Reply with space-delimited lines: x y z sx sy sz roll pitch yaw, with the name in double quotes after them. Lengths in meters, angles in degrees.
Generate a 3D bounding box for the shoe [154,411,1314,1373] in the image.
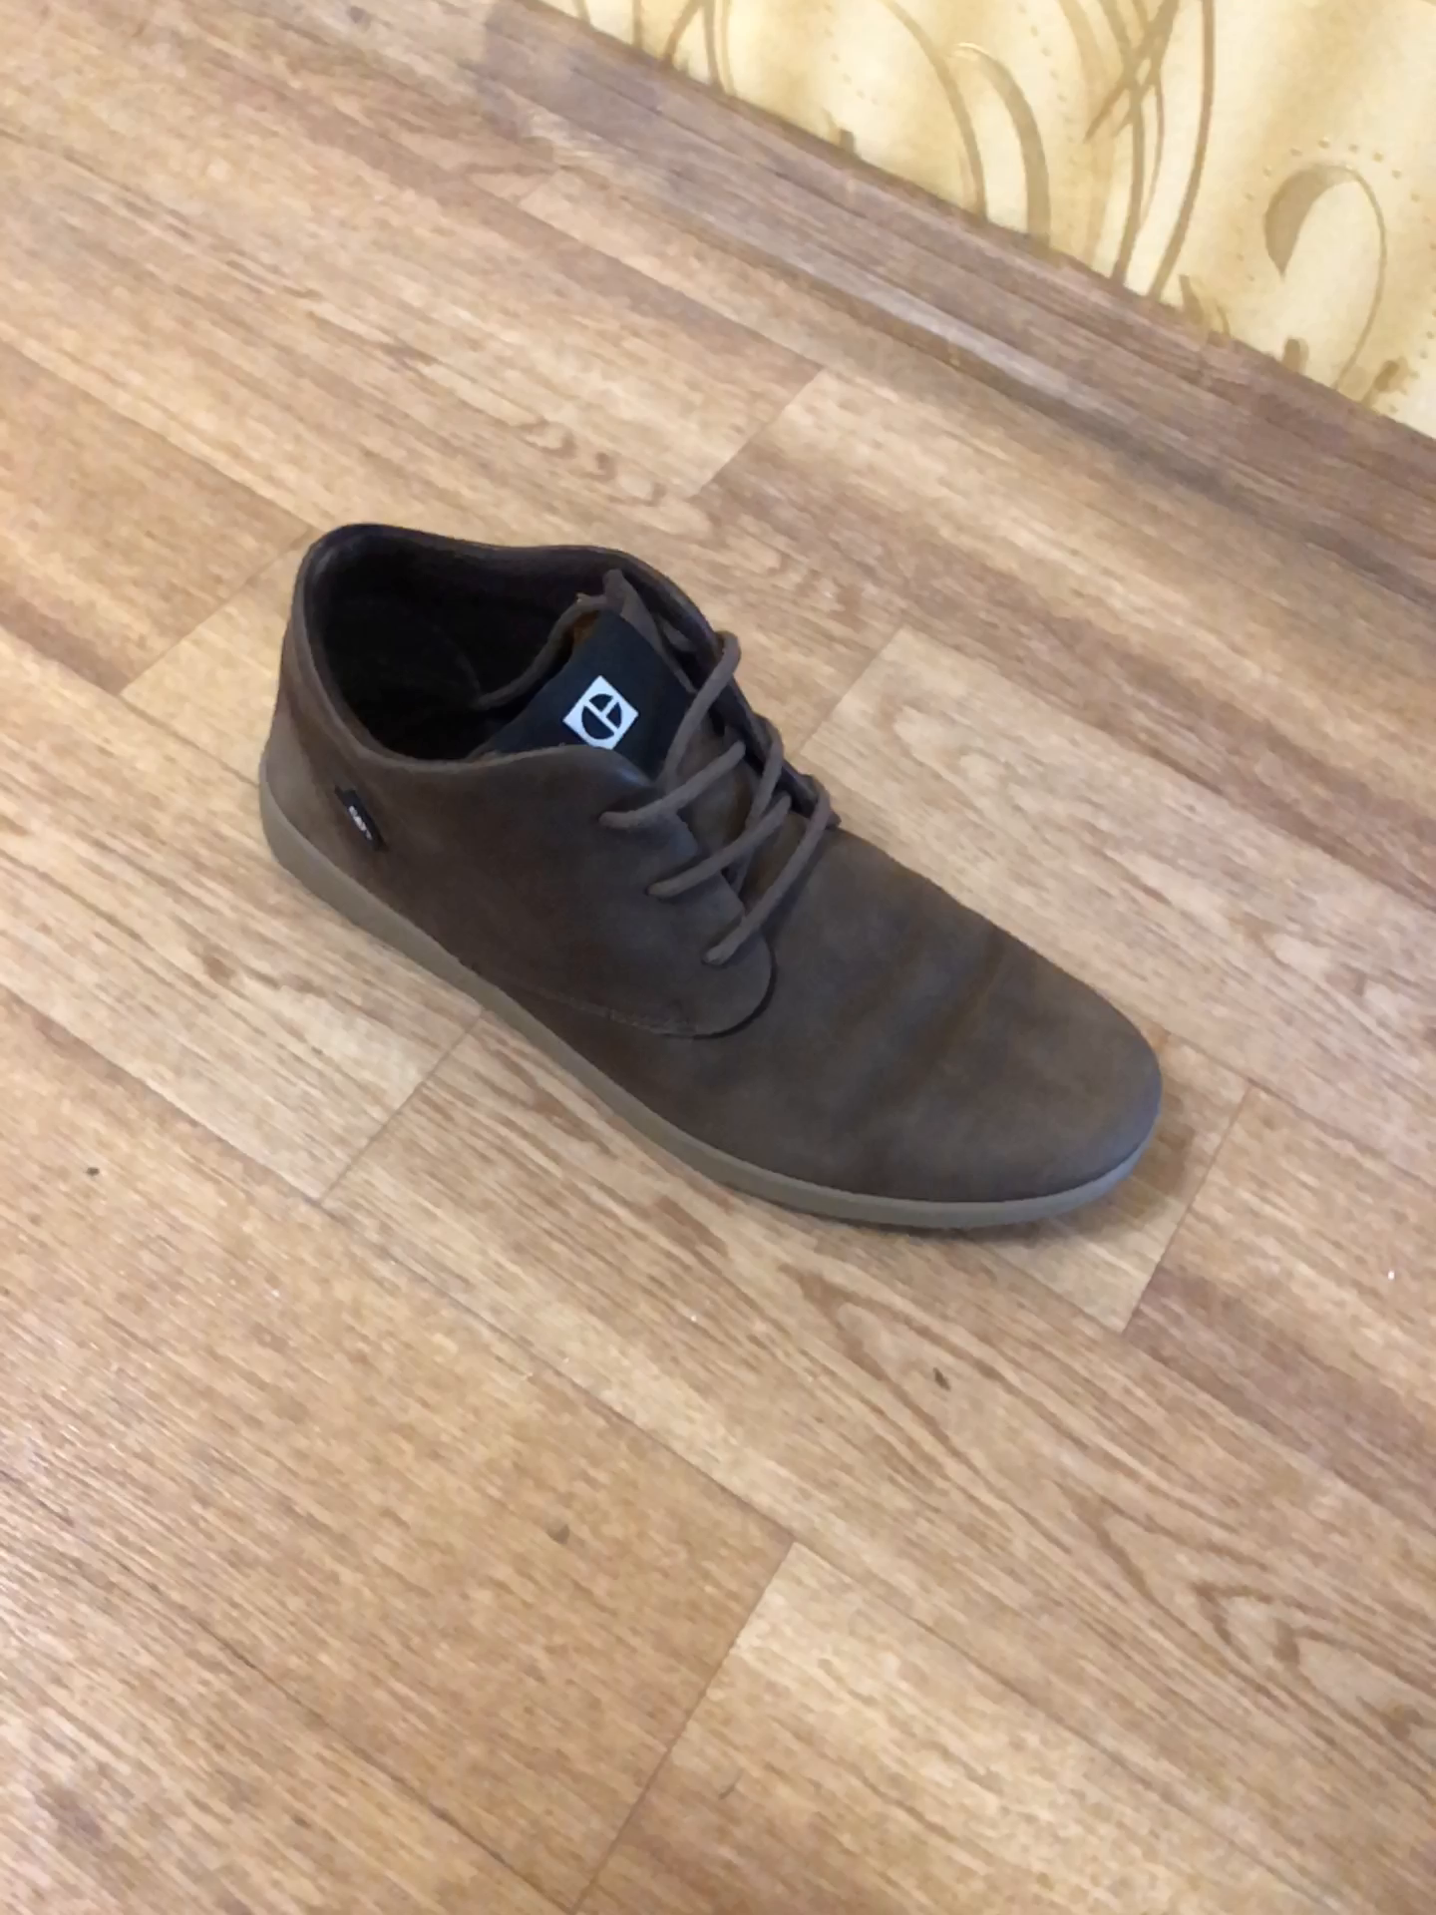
-0.002 -0.020 0.425 0.270 0.100 0.100 31 60 11 "shoe"
